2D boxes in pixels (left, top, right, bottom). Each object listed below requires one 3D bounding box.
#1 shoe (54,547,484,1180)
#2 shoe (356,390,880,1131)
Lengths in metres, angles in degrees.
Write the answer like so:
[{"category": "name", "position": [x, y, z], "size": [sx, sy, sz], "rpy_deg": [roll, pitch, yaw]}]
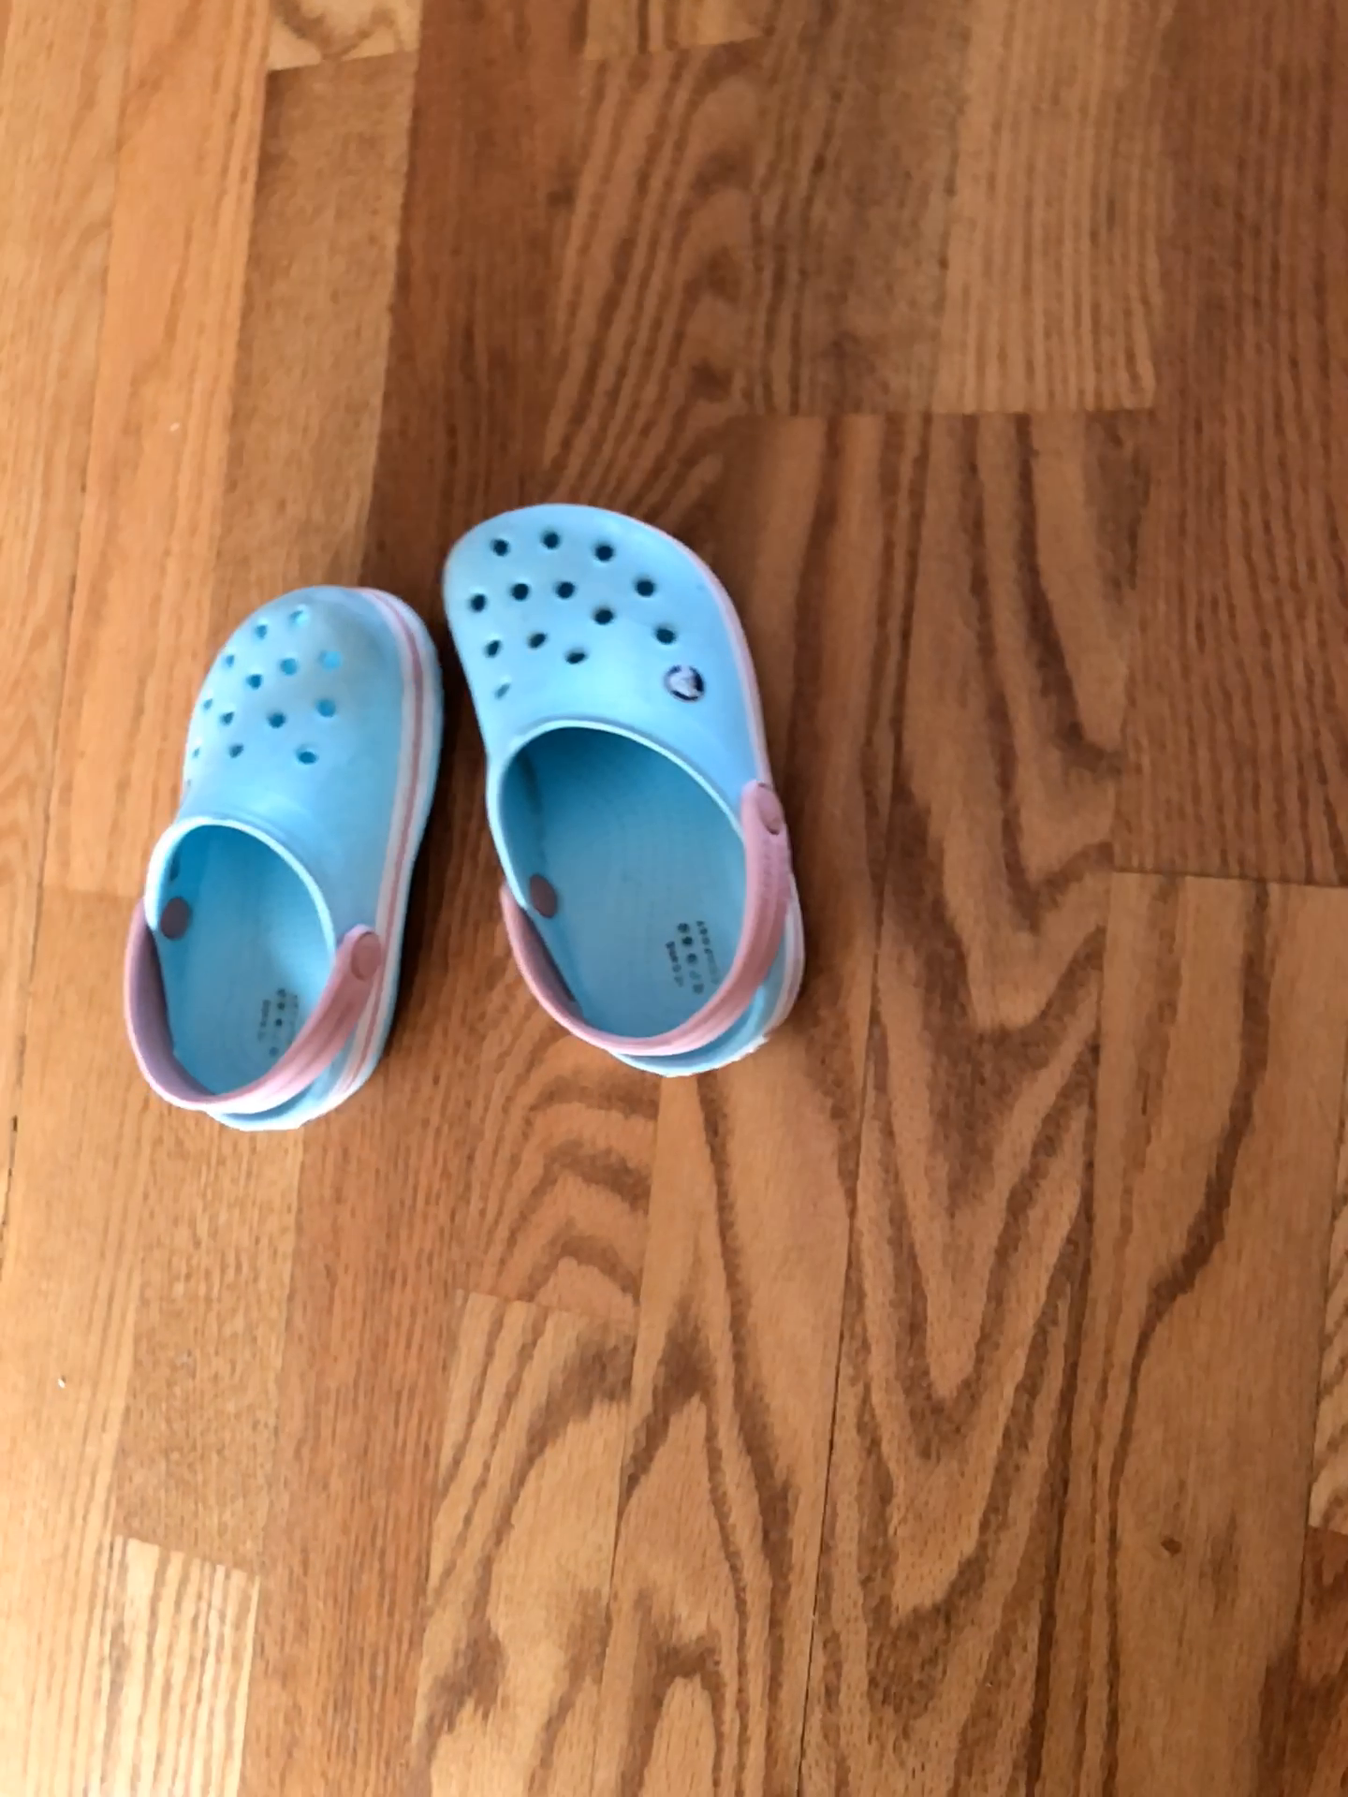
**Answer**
[{"category": "shoe", "position": [-0.115, -0.011, 0.431], "size": [0.083, 0.057, 0.165], "rpy_deg": [6, 89, 21]}, {"category": "shoe", "position": [-0.016, -0.033, 0.390], "size": [0.083, 0.048, 0.165], "rpy_deg": [-20, 79, 19]}]
